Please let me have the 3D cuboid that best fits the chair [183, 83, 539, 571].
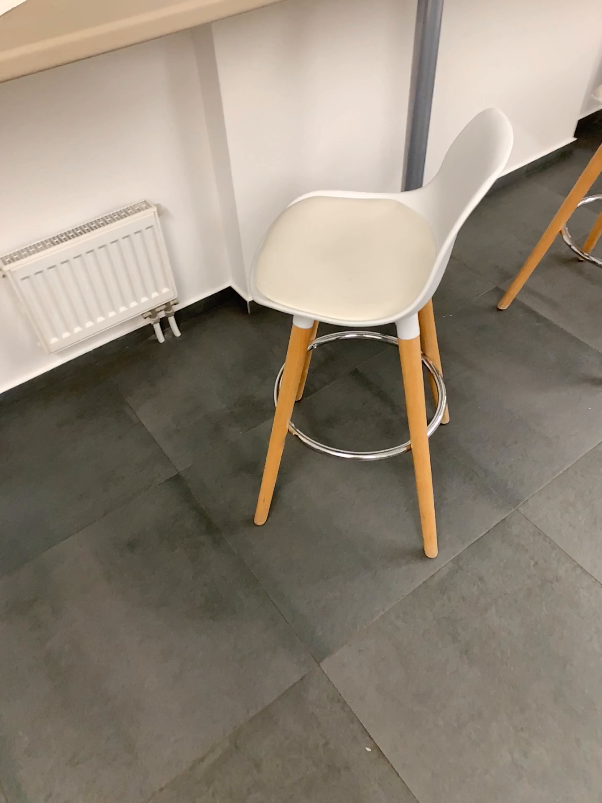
[{"bbox_3d":[0.139,-0.103,1.306,0.480,0.886,0.482,8,50,10],"label":"chair"}]
